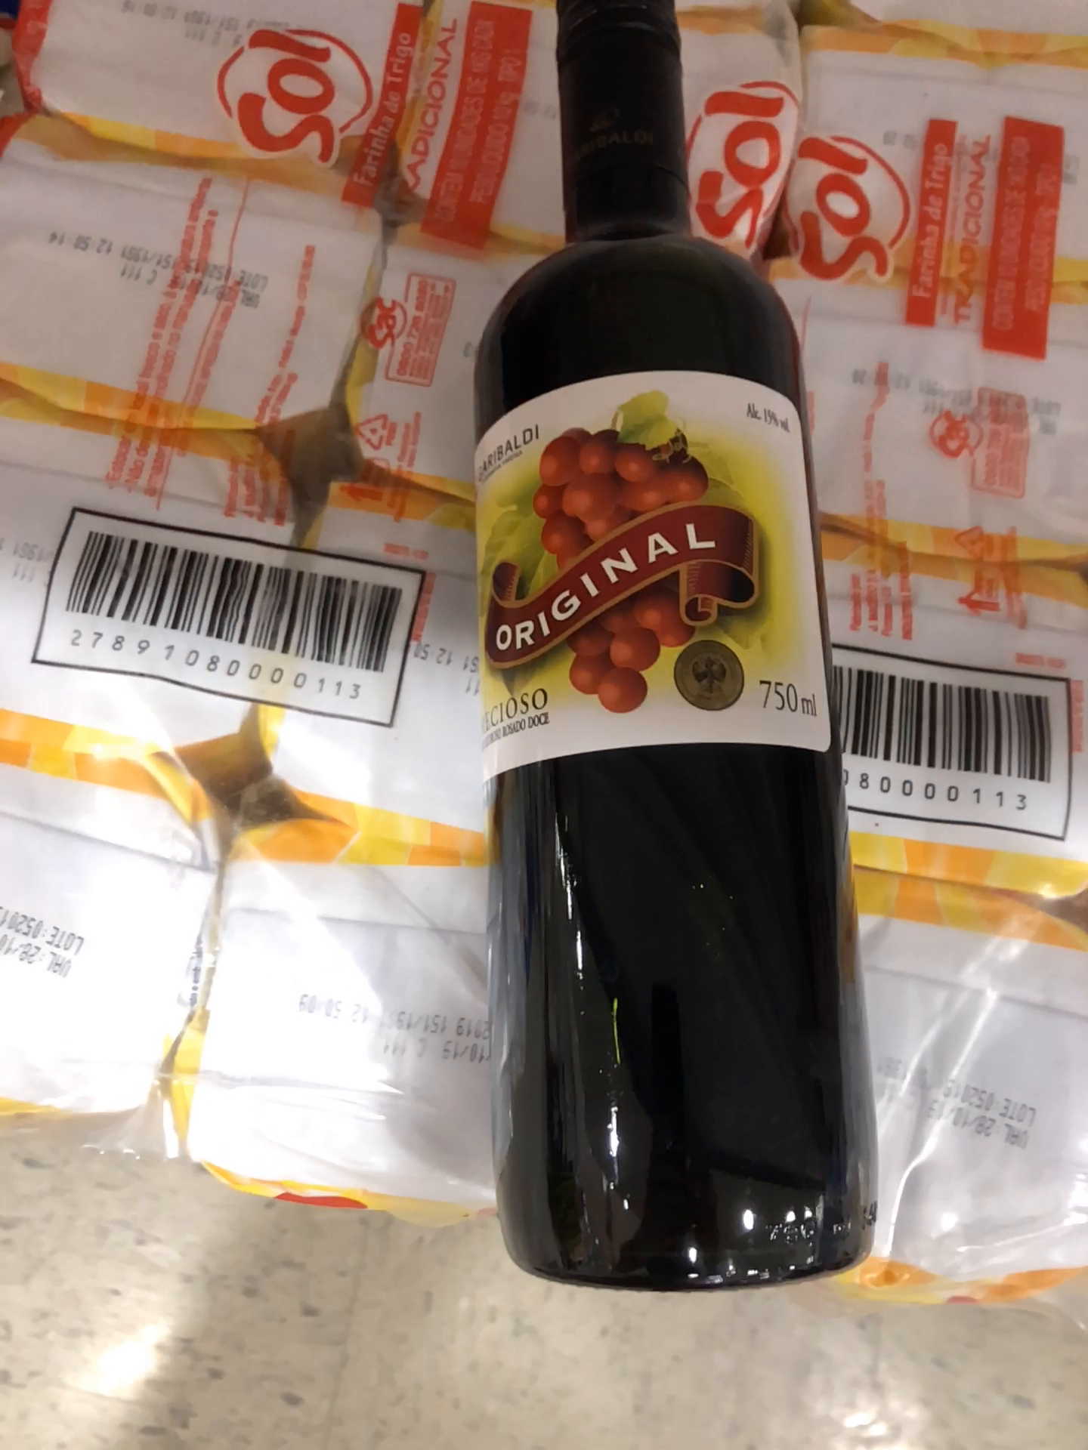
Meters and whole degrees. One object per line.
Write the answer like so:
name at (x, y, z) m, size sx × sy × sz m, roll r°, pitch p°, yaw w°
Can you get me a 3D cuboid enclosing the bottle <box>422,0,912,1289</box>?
bottle at (0.024, -0.051, 0.282) m, size 0.080 × 0.070 × 0.320 m, roll -7°, pitch 74°, yaw 20°
